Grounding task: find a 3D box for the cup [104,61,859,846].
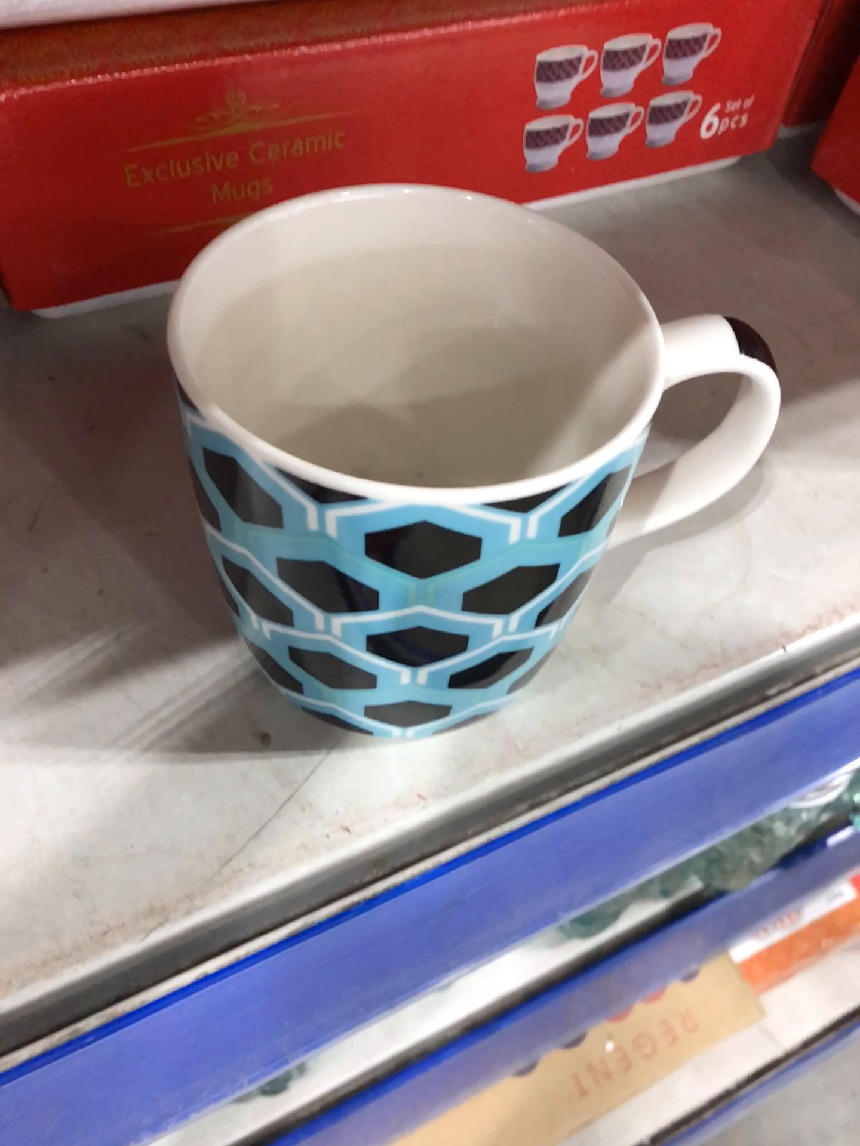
[{"bbox_3d":[0.008,-0.026,0.221,0.130,0.120,0.110,-10,55,-12],"label":"cup"}]
